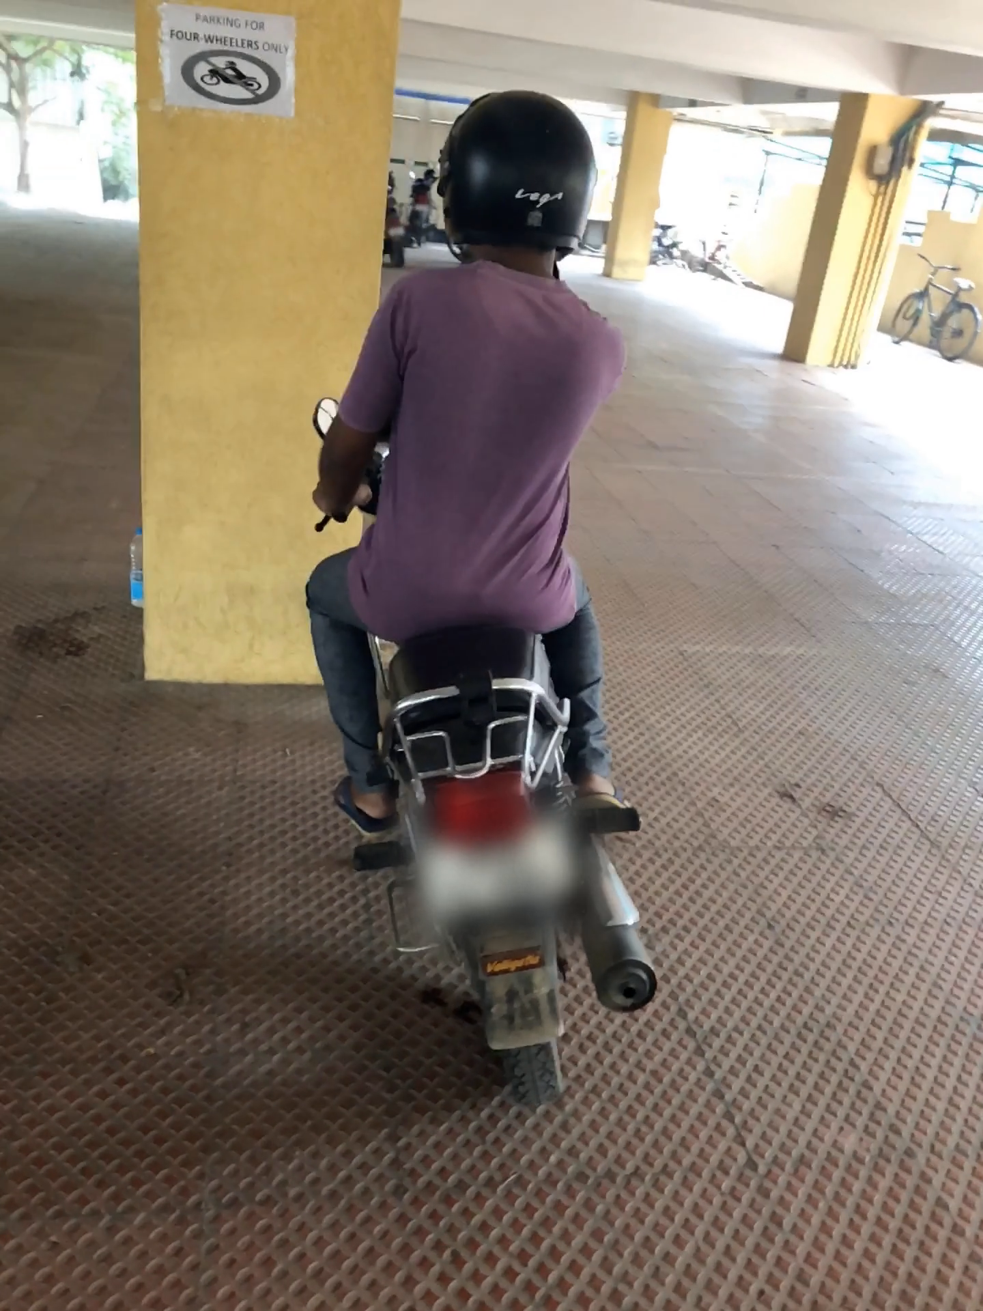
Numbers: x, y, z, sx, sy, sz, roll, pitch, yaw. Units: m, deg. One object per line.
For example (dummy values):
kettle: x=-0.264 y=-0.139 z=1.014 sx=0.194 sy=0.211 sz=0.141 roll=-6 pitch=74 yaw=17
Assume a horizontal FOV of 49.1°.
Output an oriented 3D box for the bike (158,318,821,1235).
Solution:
bike: x=-0.206 y=0.060 z=2.163 sx=0.765 sy=1.195 sz=1.550 roll=2 pitch=23 yaw=-13
